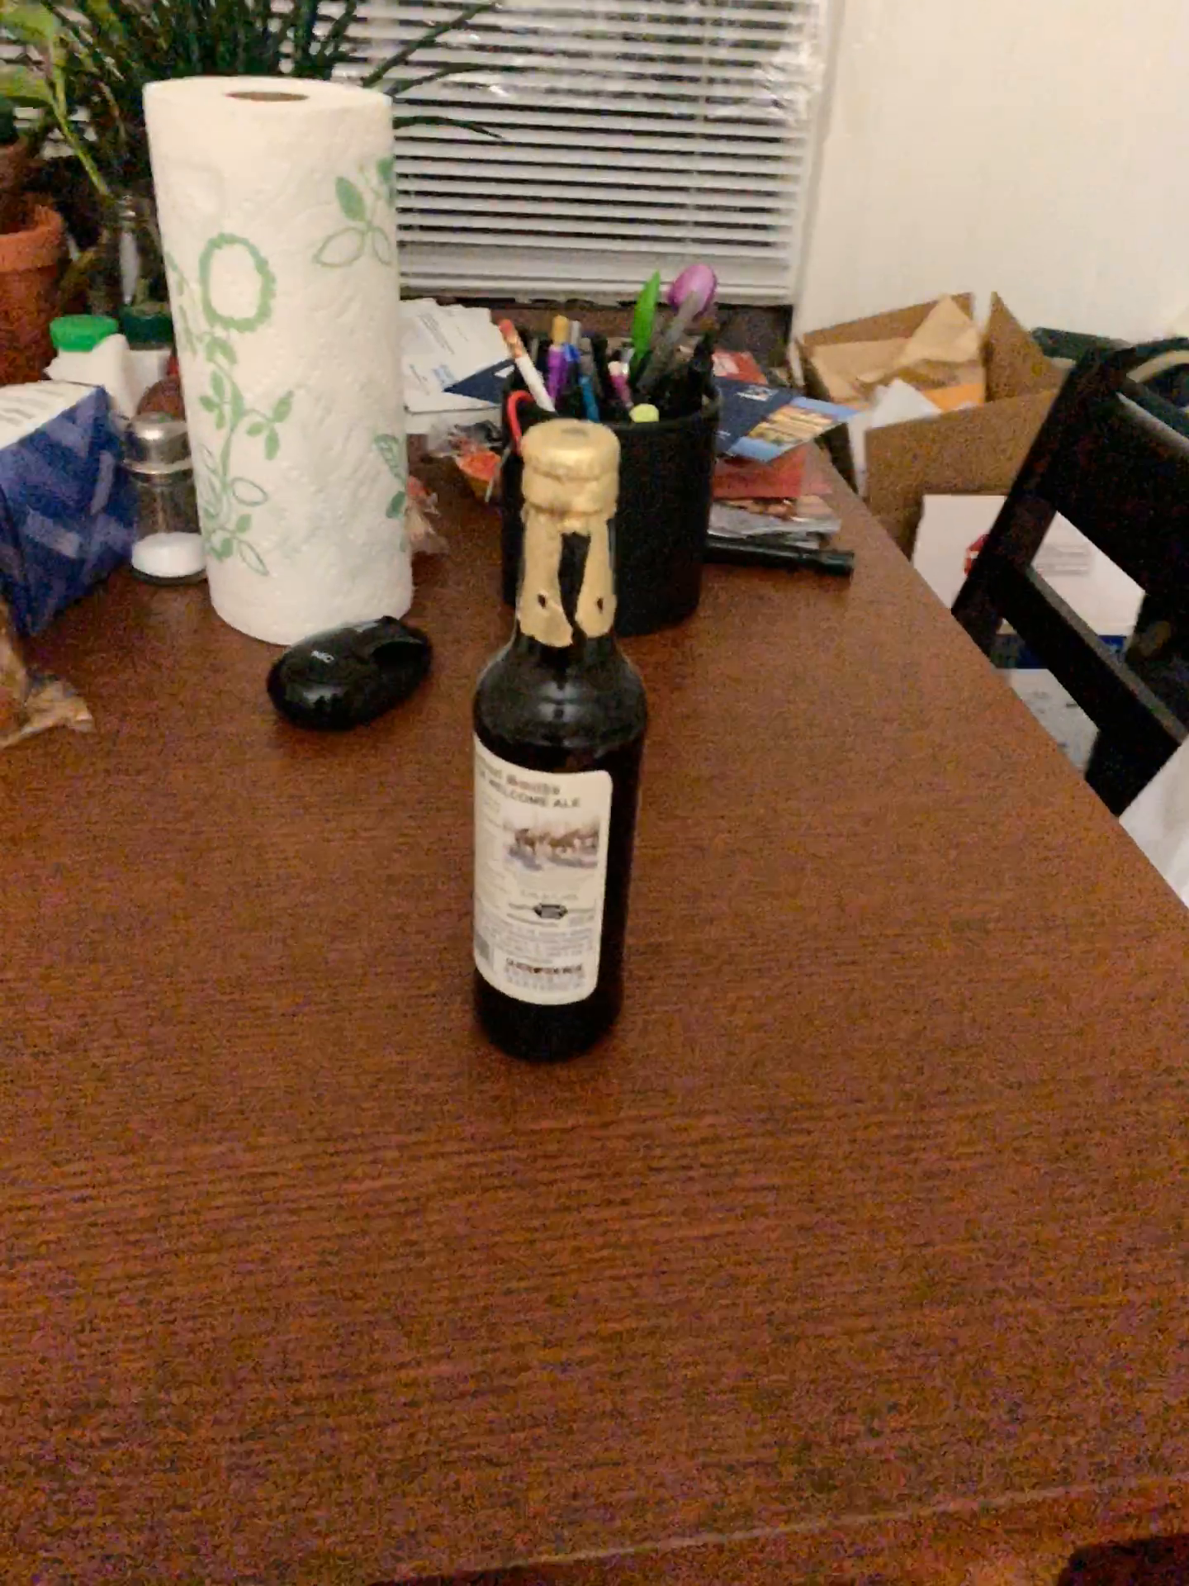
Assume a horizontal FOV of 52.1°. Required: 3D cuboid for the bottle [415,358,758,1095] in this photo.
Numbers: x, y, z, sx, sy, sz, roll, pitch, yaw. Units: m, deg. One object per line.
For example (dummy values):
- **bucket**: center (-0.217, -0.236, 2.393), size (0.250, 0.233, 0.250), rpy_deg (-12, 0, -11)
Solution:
- **bottle**: center (-0.010, -0.014, 0.403), size (0.070, 0.229, 0.070), rpy_deg (2, 35, -2)
